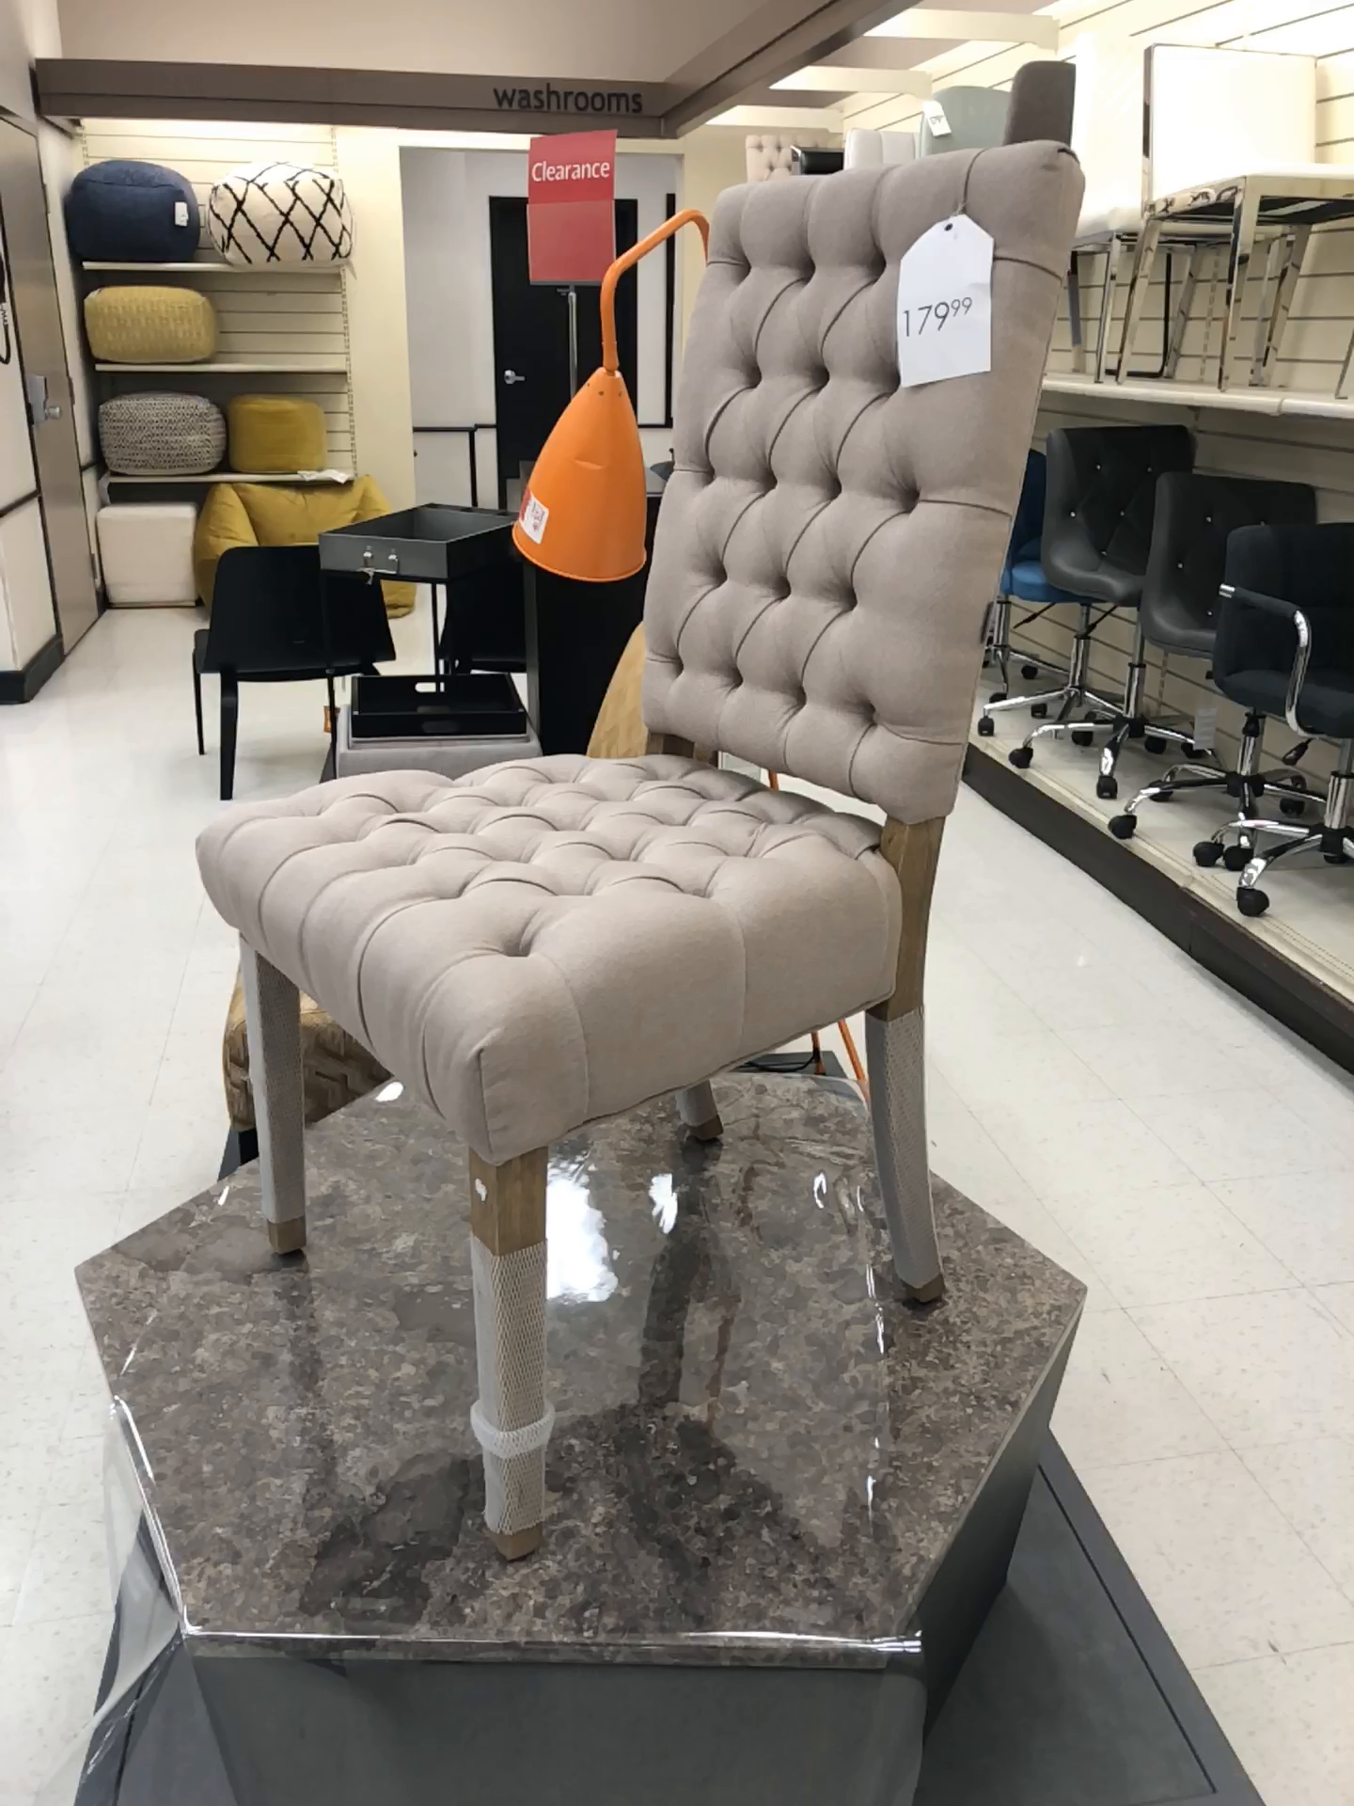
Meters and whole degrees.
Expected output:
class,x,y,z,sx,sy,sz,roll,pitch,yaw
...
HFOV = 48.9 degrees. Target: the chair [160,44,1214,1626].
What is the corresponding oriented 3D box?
class,x,y,z,sx,sy,sz,roll,pitch,yaw
chair,-0.020,-0.088,1.314,0.581,1.046,0.572,-13,24,-32
